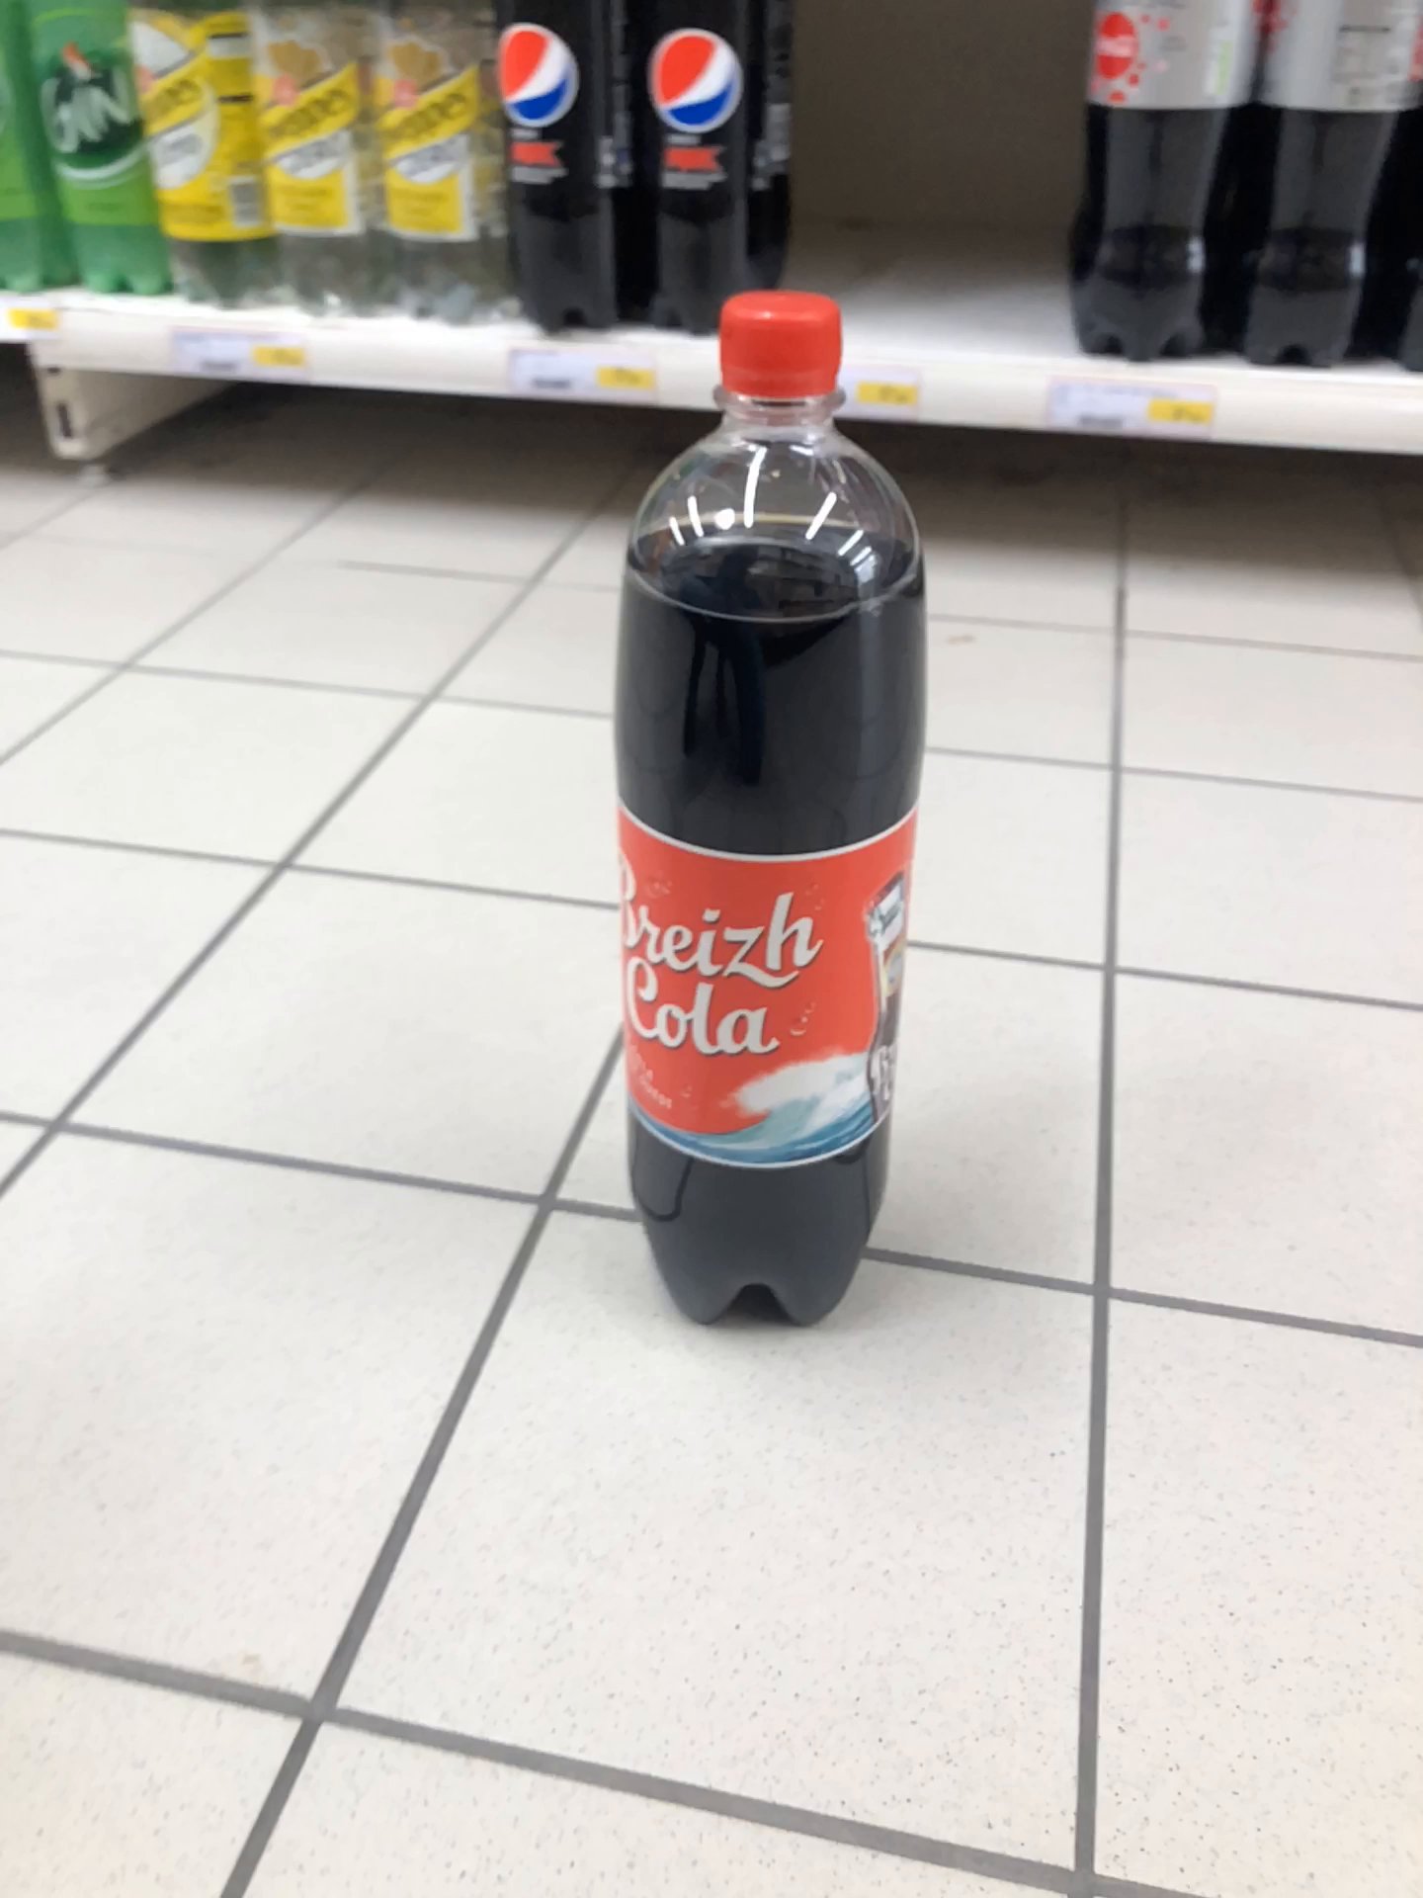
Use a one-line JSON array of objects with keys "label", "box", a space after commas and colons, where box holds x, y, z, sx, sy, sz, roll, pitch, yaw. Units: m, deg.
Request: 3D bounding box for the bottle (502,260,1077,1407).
[{"label": "bottle", "box": [0.019, -0.026, 0.470, 0.100, 0.308, 0.101, 0, 32, 0]}]
